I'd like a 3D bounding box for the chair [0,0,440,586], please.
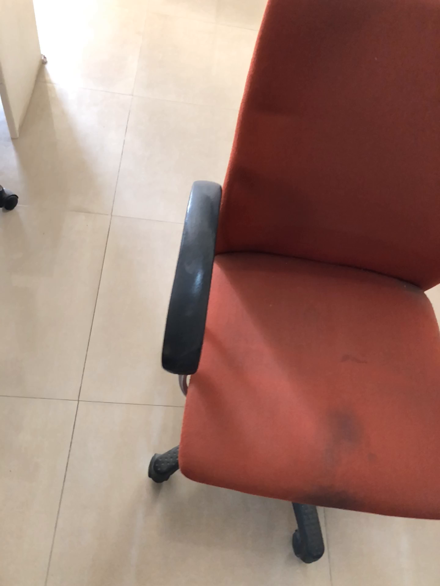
[{"bbox_3d":[0.194,0.081,0.923,0.770,1.043,0.704,11,56,-3],"label":"chair"}]
